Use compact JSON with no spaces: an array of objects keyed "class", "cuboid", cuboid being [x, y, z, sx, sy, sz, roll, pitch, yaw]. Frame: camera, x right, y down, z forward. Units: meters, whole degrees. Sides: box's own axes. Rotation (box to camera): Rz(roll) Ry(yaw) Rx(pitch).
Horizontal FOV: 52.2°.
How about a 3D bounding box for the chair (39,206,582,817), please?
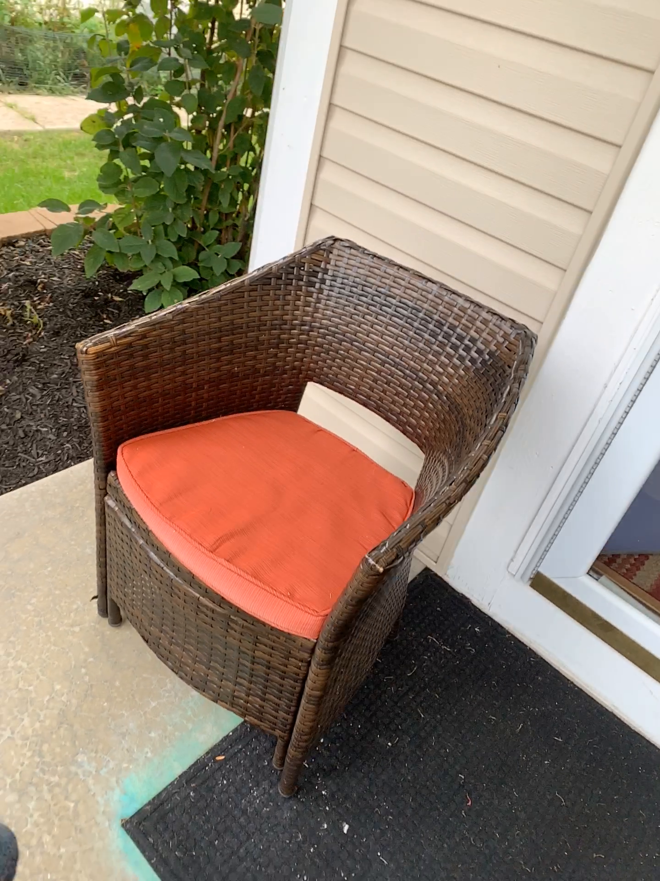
[{"class":"chair","cuboid":[-0.070,0.082,1.293,0.642,0.757,0.608,32,39,23]}]
